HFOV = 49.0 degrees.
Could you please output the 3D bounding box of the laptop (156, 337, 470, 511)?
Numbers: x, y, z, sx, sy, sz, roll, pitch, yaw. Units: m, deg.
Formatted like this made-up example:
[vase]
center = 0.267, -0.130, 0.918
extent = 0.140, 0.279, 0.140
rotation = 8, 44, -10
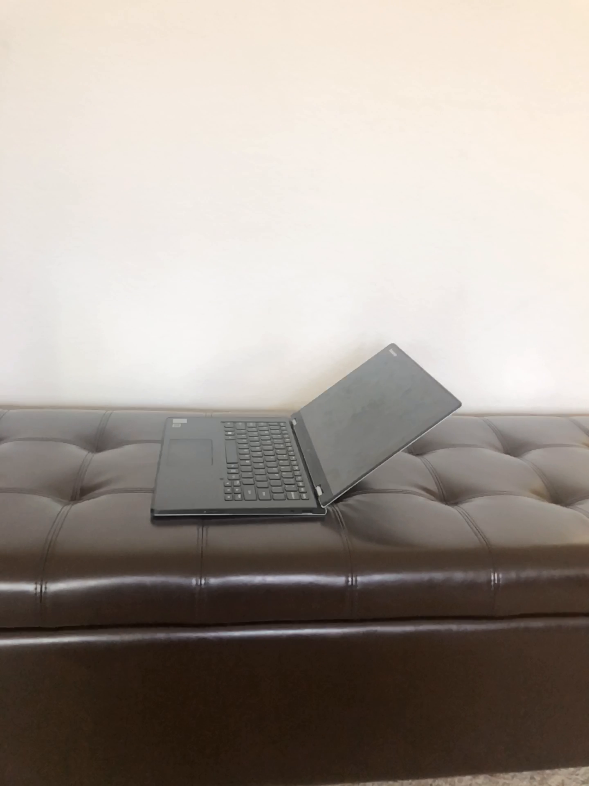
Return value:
[laptop]
center = 0.002, 0.020, 0.782
extent = 0.317, 0.115, 0.262
rotation = -1, 18, -8
